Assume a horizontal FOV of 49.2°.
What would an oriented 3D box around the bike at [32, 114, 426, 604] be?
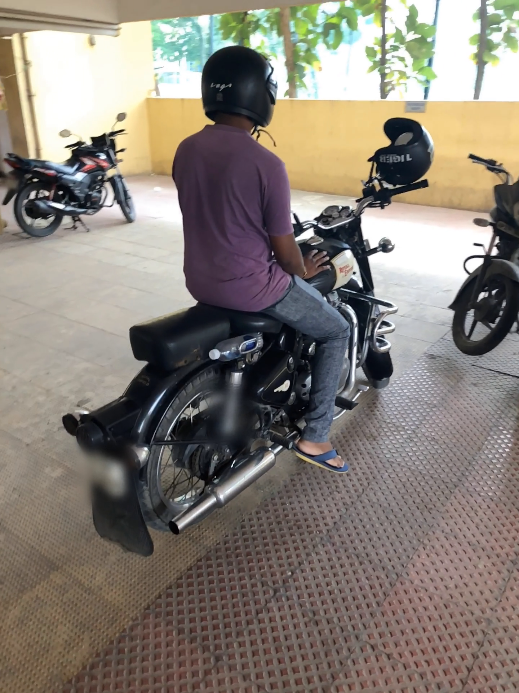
[{"bbox_3d":[0.041,-0.222,2.370,0.727,1.096,1.769,13,32,28],"label":"bike"}]
